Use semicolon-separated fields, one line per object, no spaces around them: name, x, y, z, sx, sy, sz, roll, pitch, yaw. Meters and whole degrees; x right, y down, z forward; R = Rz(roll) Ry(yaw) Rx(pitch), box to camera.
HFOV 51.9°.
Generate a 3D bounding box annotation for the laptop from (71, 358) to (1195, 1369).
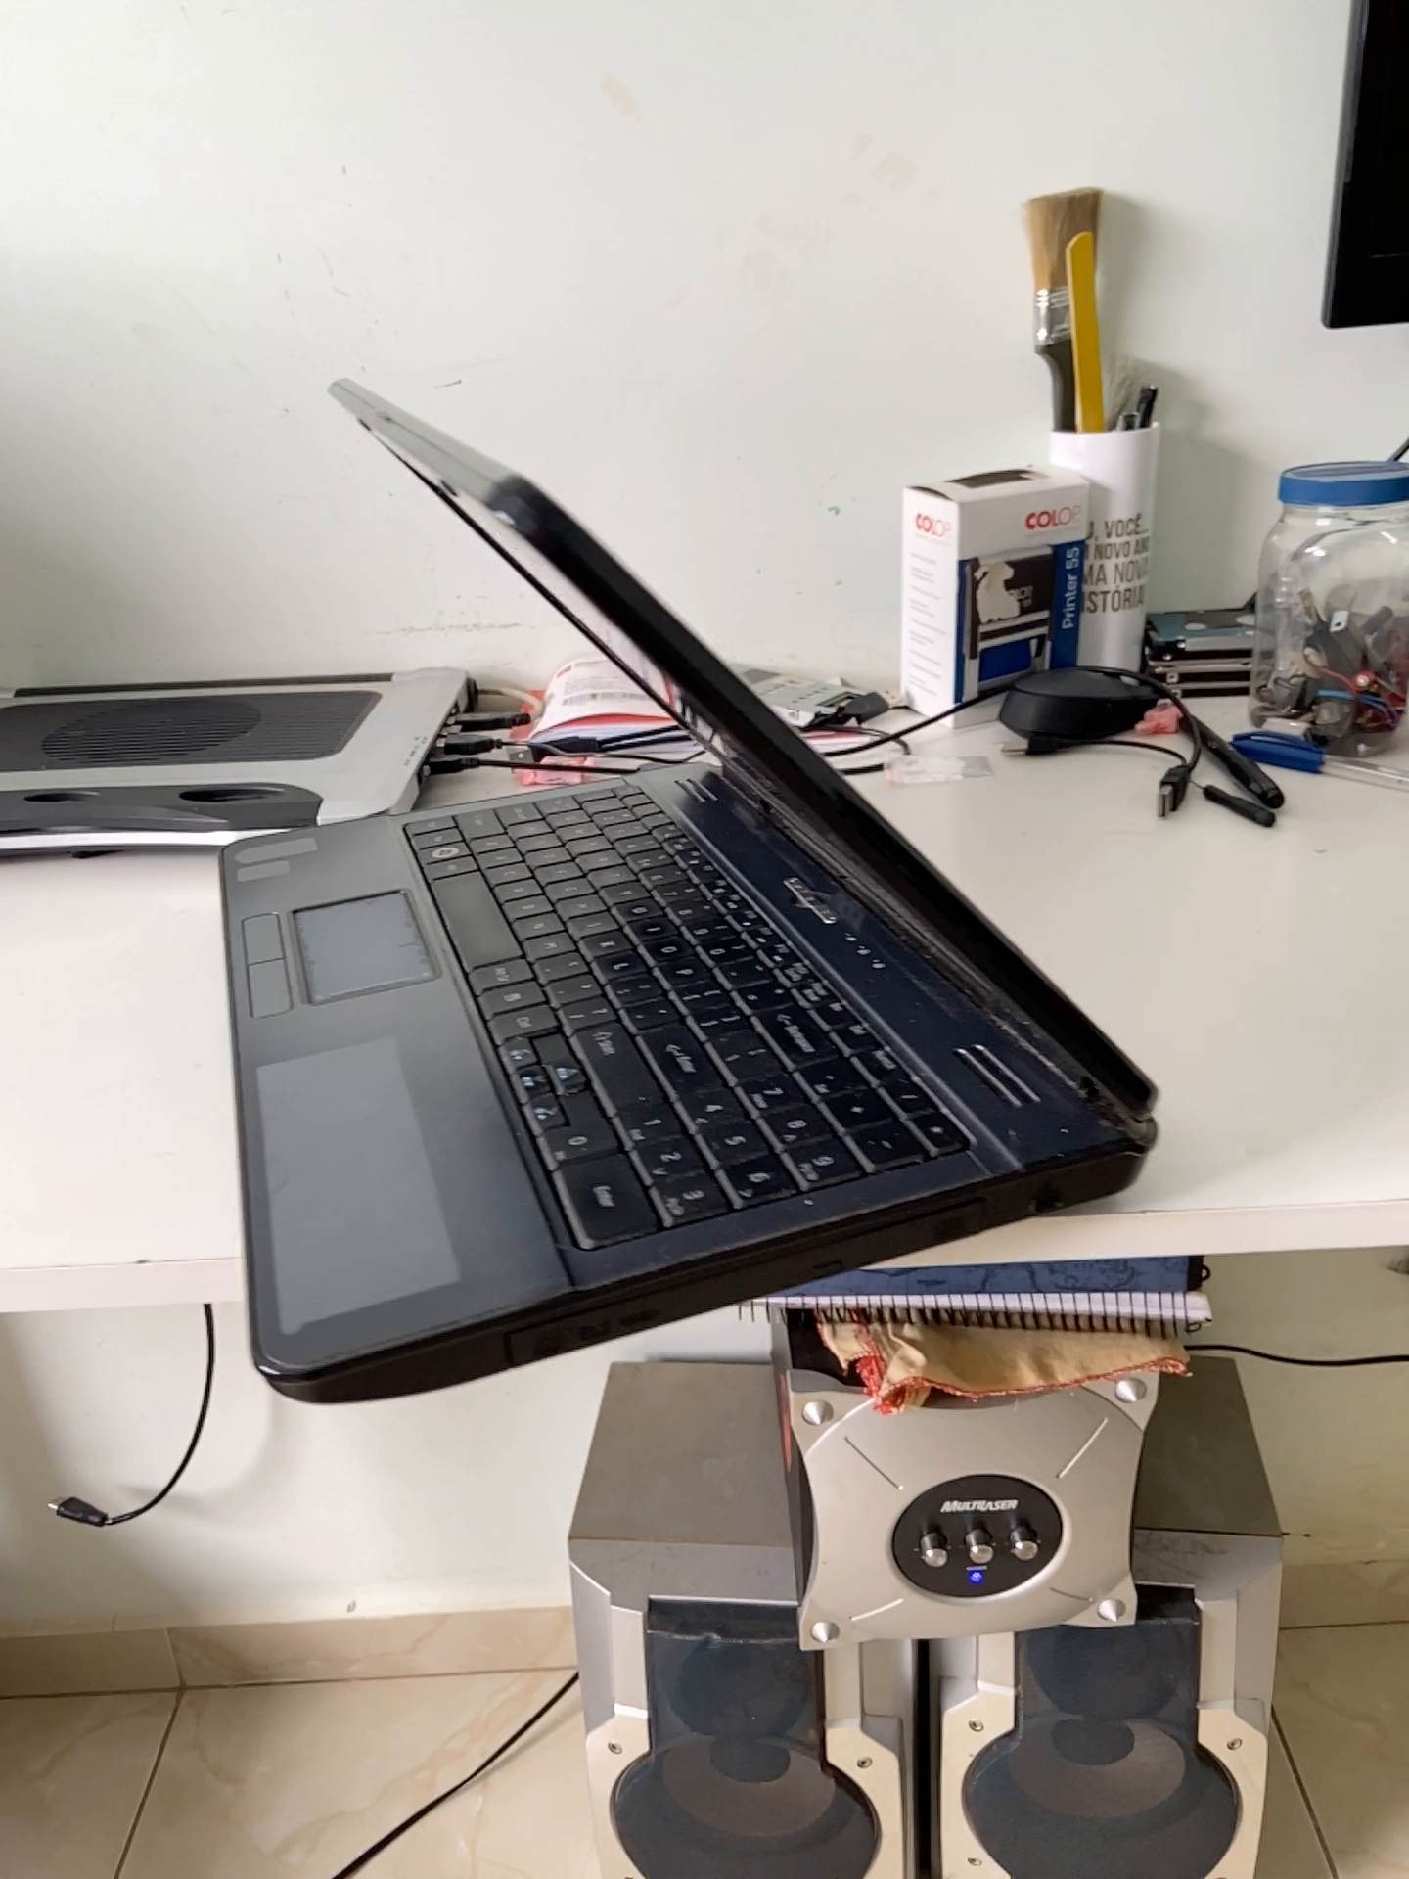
laptop;-0.055;-0.078;0.484;0.233;0.183;0.368;-12;26;-15
